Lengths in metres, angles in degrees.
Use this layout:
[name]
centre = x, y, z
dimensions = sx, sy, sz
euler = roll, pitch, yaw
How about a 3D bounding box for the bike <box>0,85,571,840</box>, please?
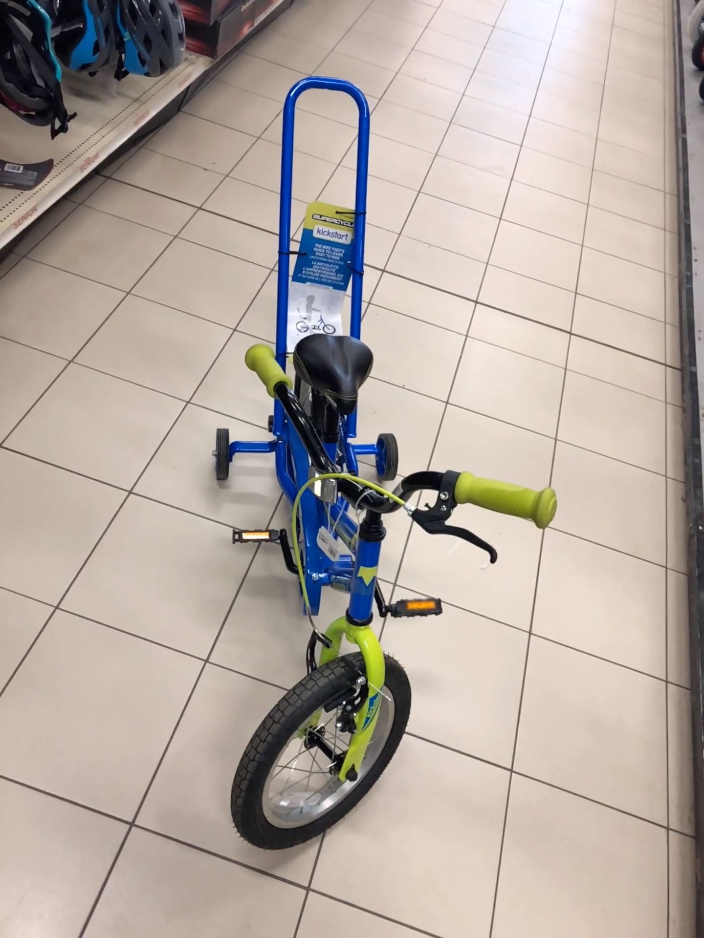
[bike]
centre = -0.119, -0.013, 1.246
dimensions = 0.538, 0.763, 0.957
euler = 9, 47, -7
